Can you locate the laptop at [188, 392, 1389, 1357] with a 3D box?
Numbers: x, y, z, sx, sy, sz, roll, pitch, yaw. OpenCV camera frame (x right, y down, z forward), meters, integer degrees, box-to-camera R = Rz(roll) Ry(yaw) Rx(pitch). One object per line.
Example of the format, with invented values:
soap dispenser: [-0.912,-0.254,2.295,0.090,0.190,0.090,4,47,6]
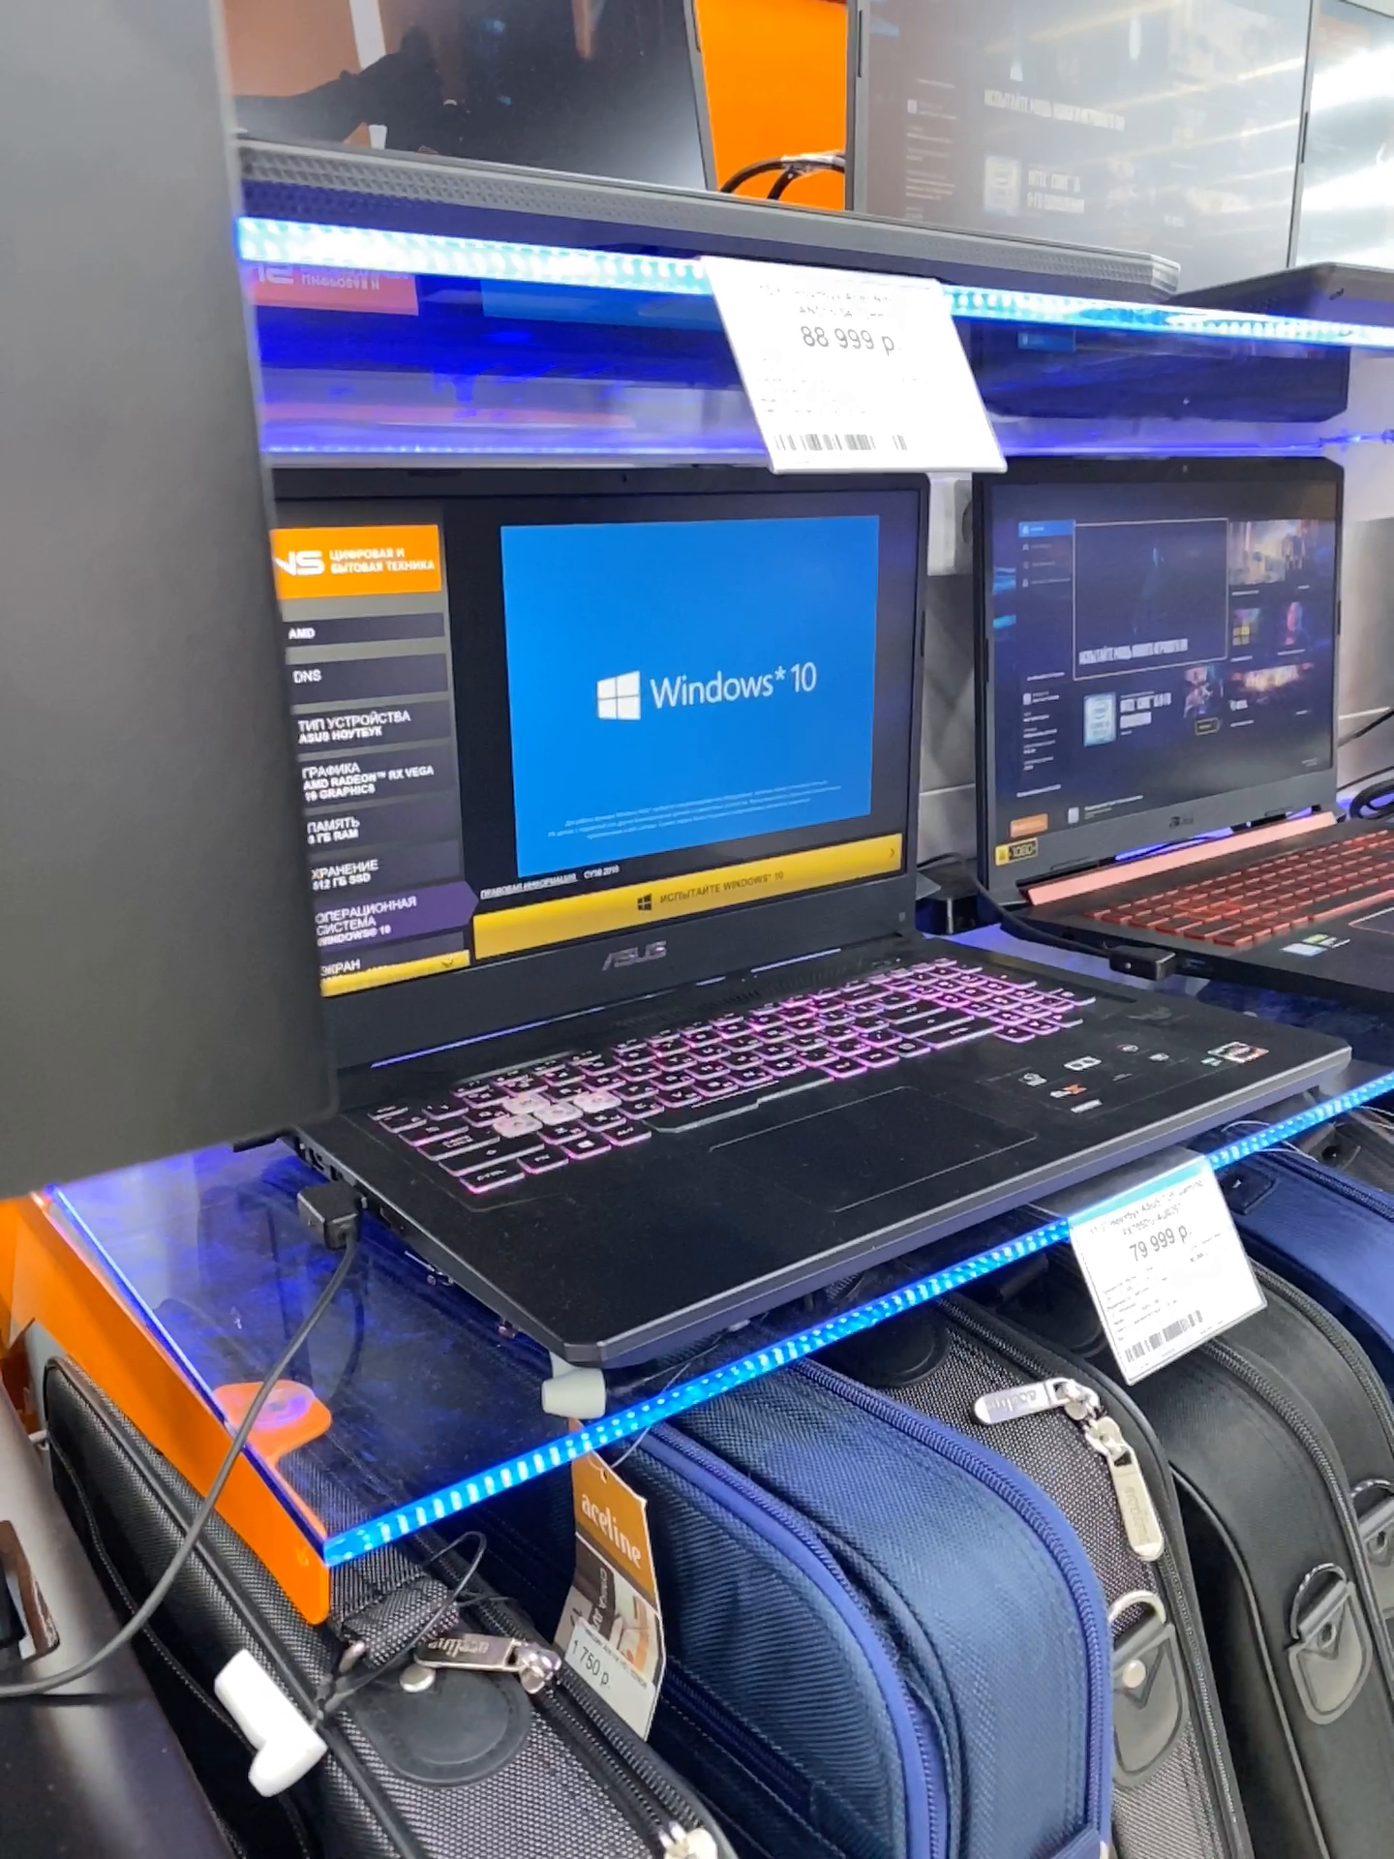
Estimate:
laptop: [0.044,-0.061,0.602,0.397,0.265,0.269,-12,16,-34]
